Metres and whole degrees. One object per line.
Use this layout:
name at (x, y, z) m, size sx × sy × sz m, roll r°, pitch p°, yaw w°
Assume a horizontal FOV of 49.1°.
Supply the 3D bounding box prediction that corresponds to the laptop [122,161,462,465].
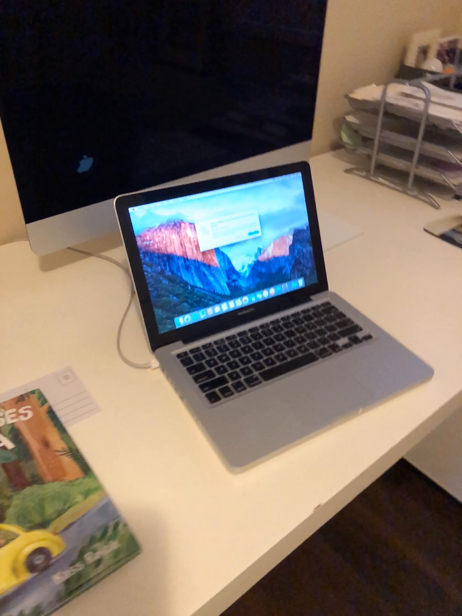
laptop at (0.062, -0.028, 0.675) m, size 0.302 × 0.187 × 0.314 m, roll -18°, pitch 41°, yaw -24°
